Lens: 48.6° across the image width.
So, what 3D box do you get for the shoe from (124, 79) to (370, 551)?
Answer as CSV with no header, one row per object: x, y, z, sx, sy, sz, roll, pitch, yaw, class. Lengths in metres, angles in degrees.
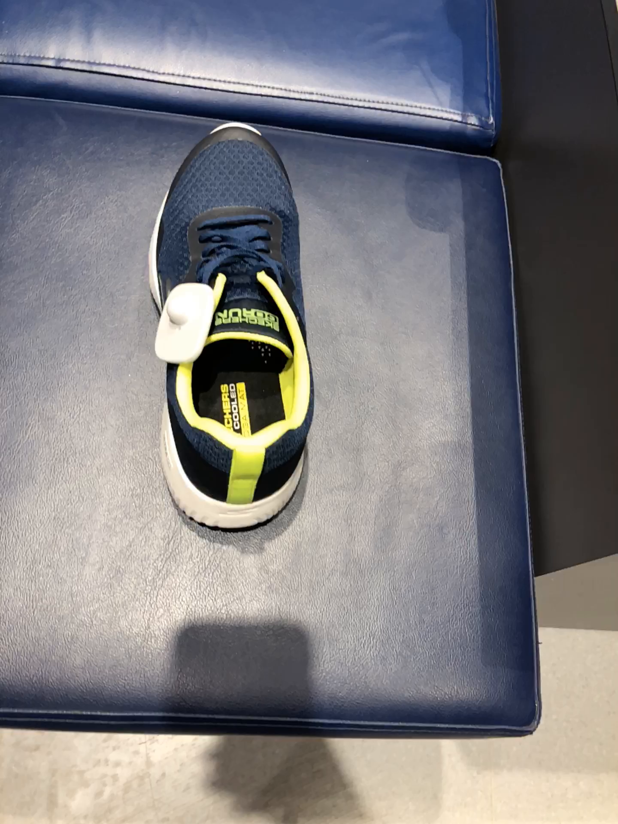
-0.047,-0.056,0.428,0.114,0.132,0.255,-3,70,-9,shoe
